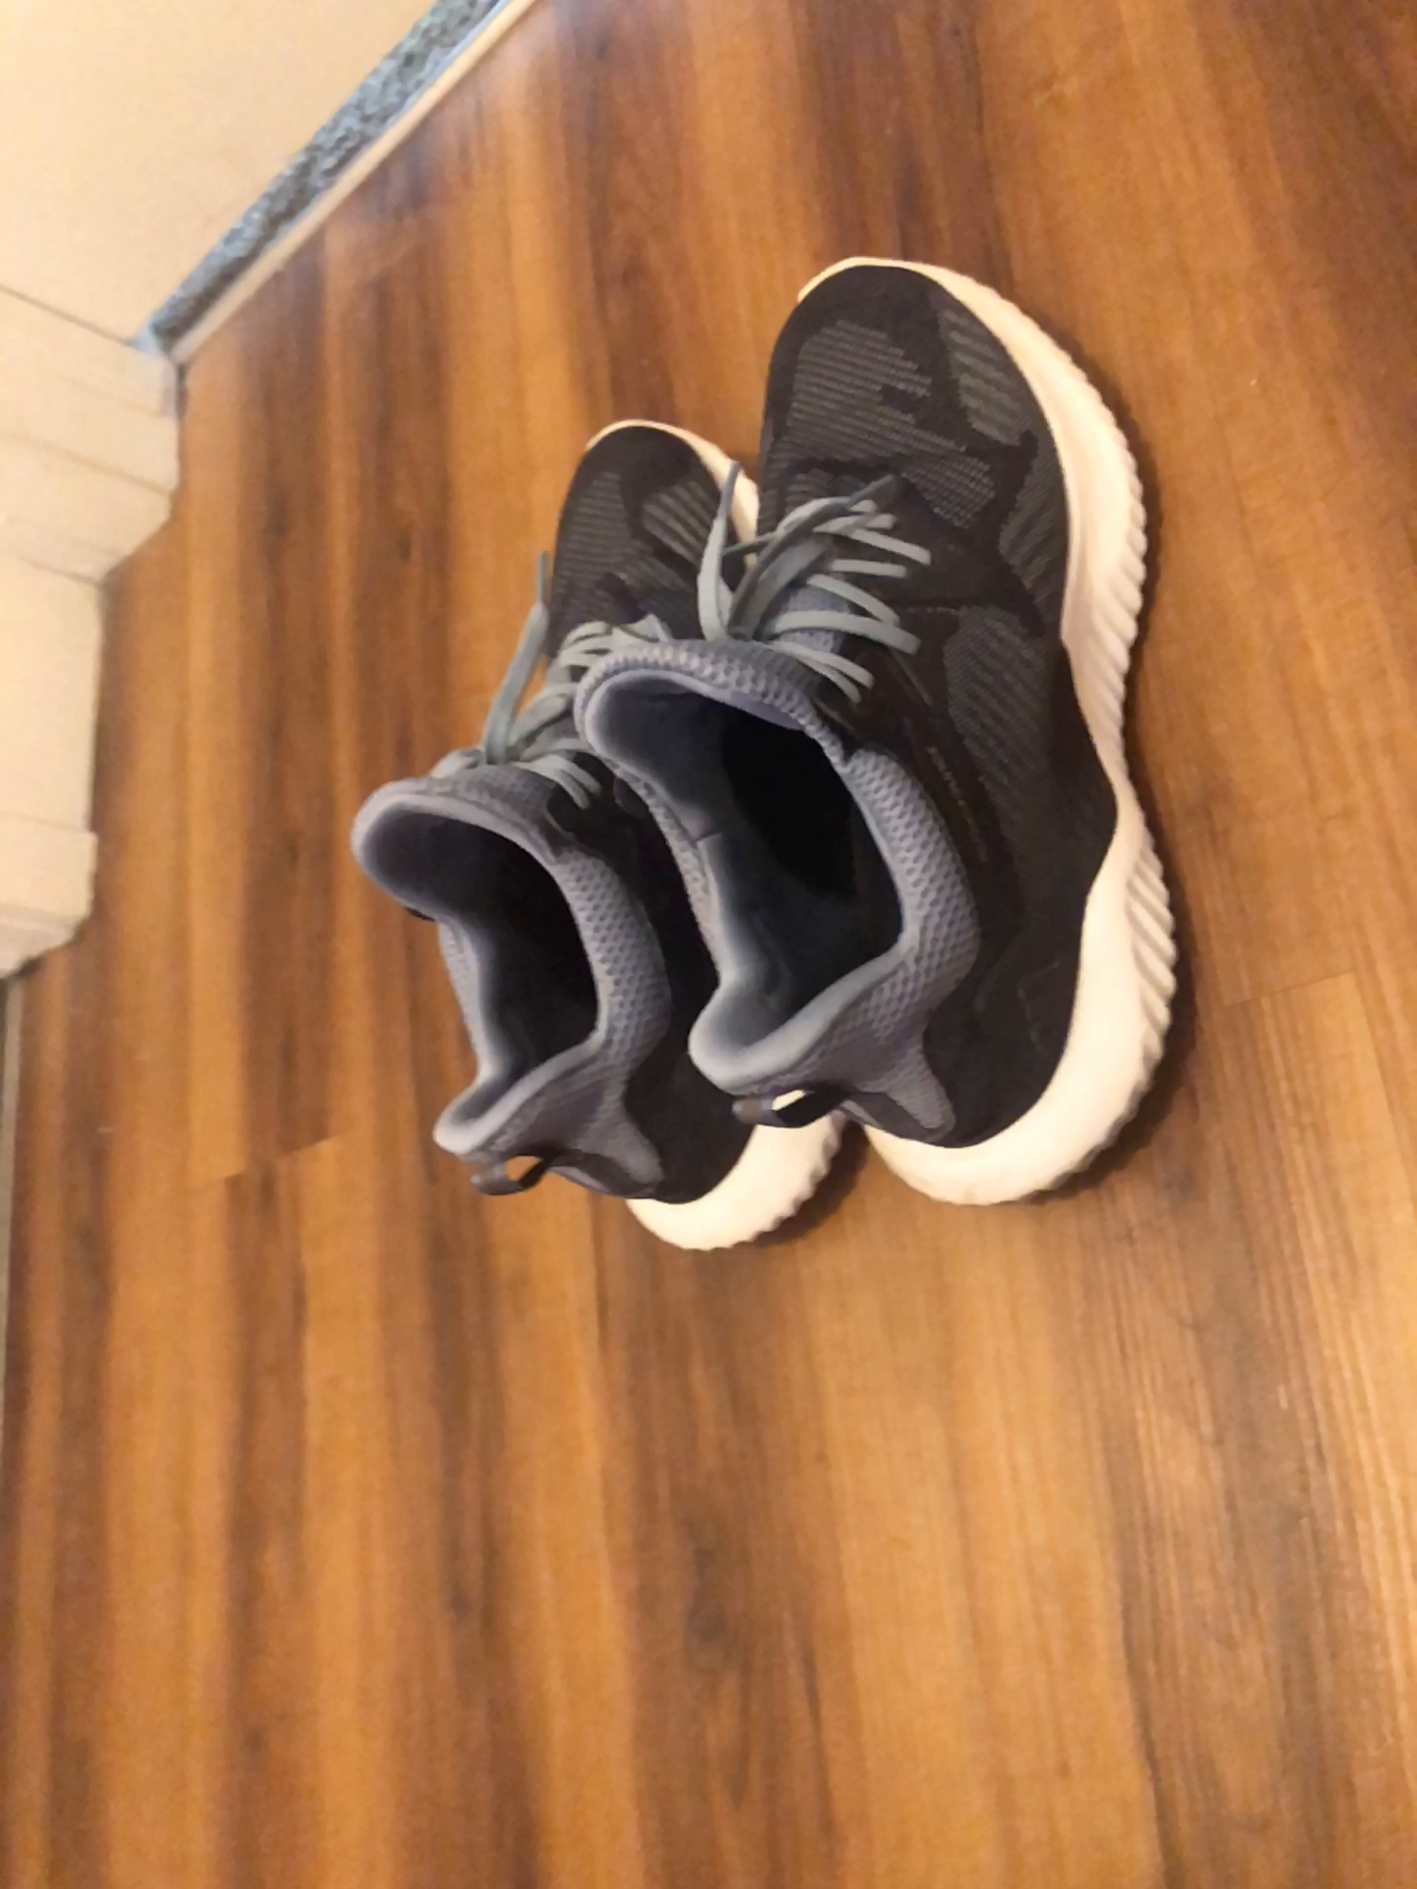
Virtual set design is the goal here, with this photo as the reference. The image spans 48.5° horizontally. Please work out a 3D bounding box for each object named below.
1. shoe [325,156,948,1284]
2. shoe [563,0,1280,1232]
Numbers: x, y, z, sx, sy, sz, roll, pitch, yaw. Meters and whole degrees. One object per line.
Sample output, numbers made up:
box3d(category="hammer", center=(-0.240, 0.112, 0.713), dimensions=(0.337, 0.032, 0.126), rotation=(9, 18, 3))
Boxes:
box3d(category="shoe", center=(-0.034, -0.063, 0.537), dimensions=(0.133, 0.134, 0.333), rotation=(-21, 66, 40))
box3d(category="shoe", center=(0.052, -0.093, 0.456), dimensions=(0.132, 0.130, 0.334), rotation=(-16, 70, 42))
